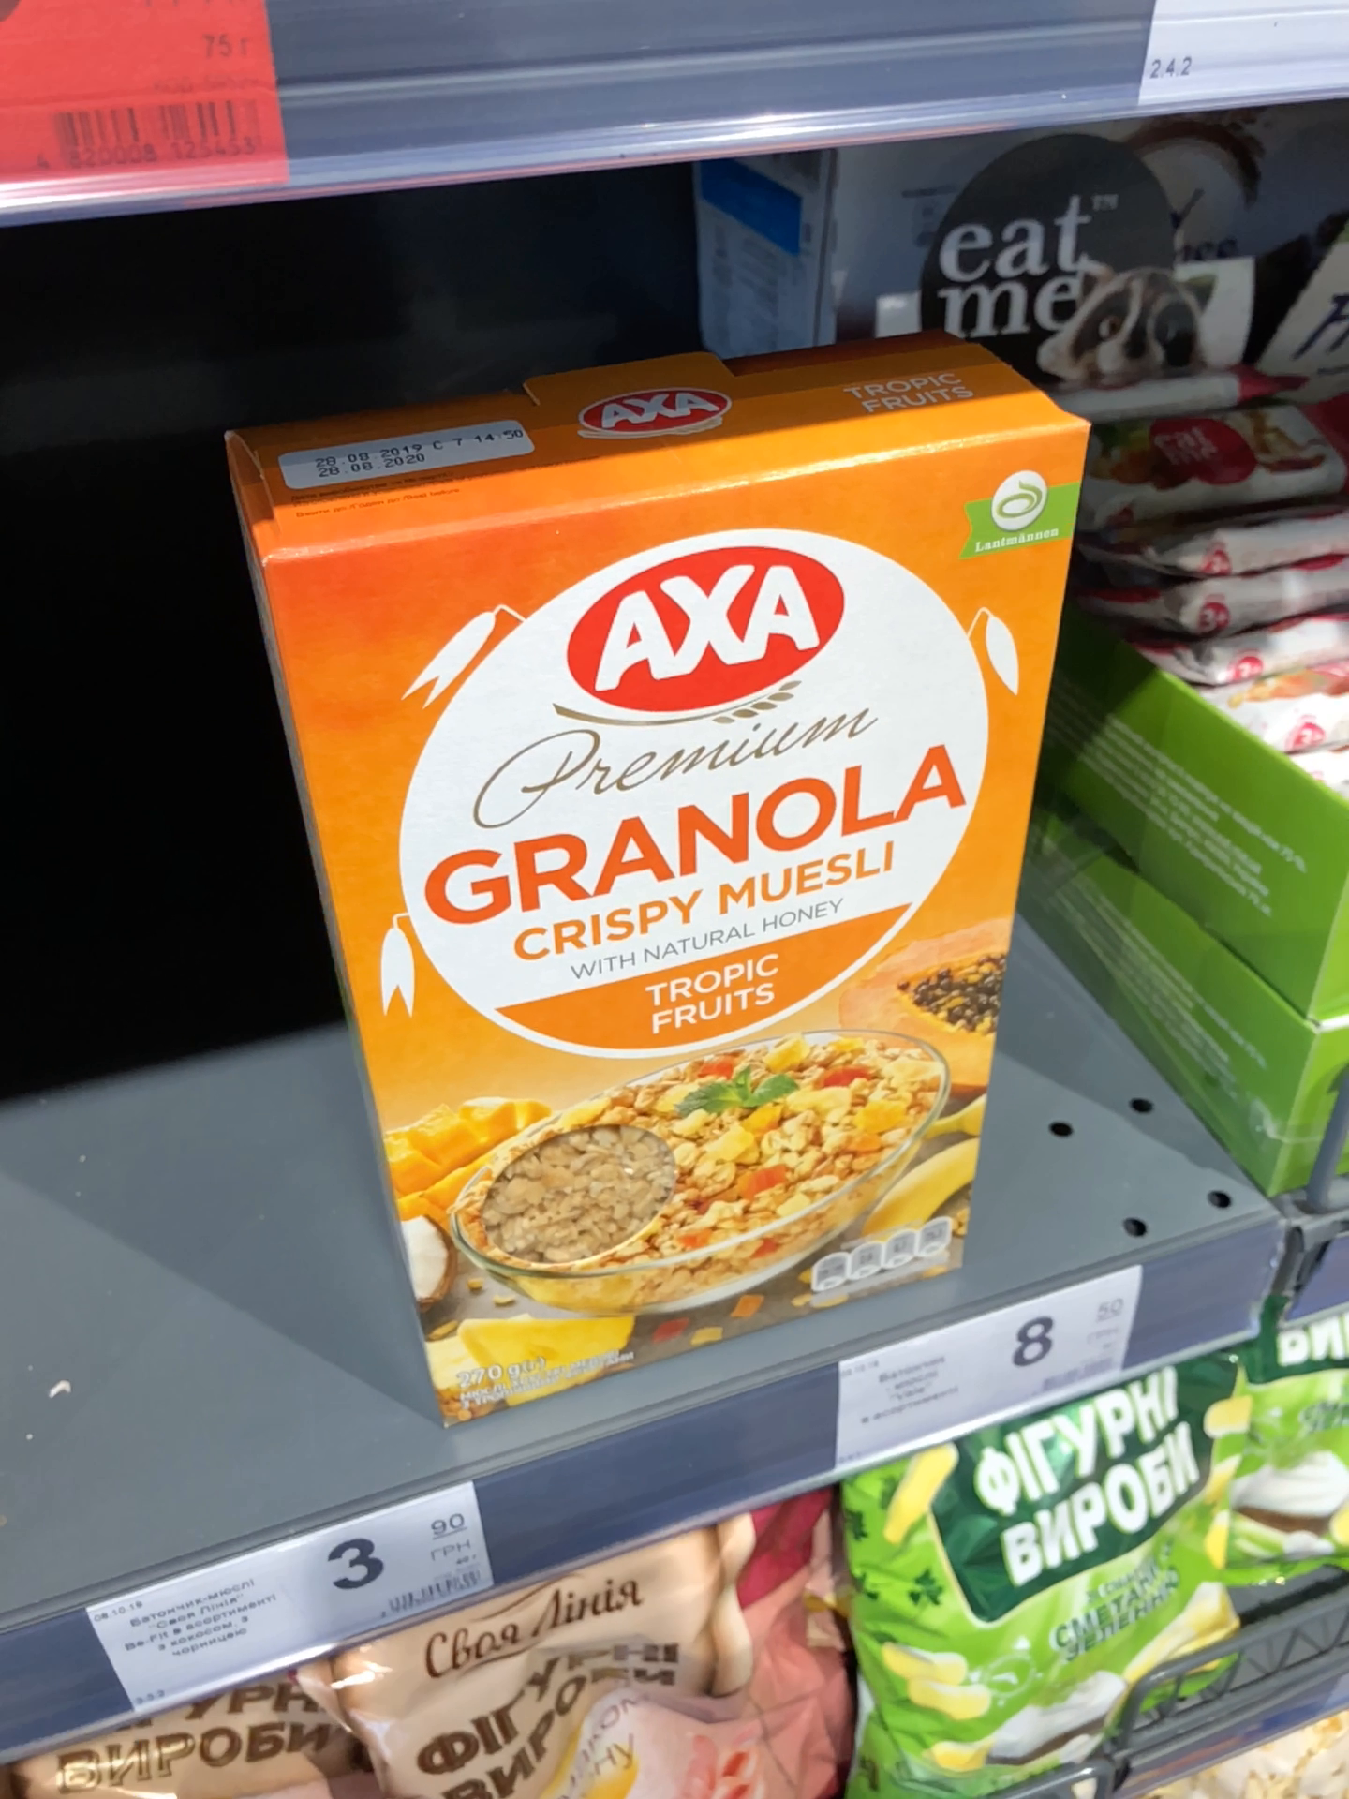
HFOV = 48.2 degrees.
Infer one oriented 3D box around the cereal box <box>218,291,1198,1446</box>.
[{"bbox_3d":[0.006,0.005,0.294,0.140,0.208,0.050,-14,40,-16],"label":"cereal box"}]
